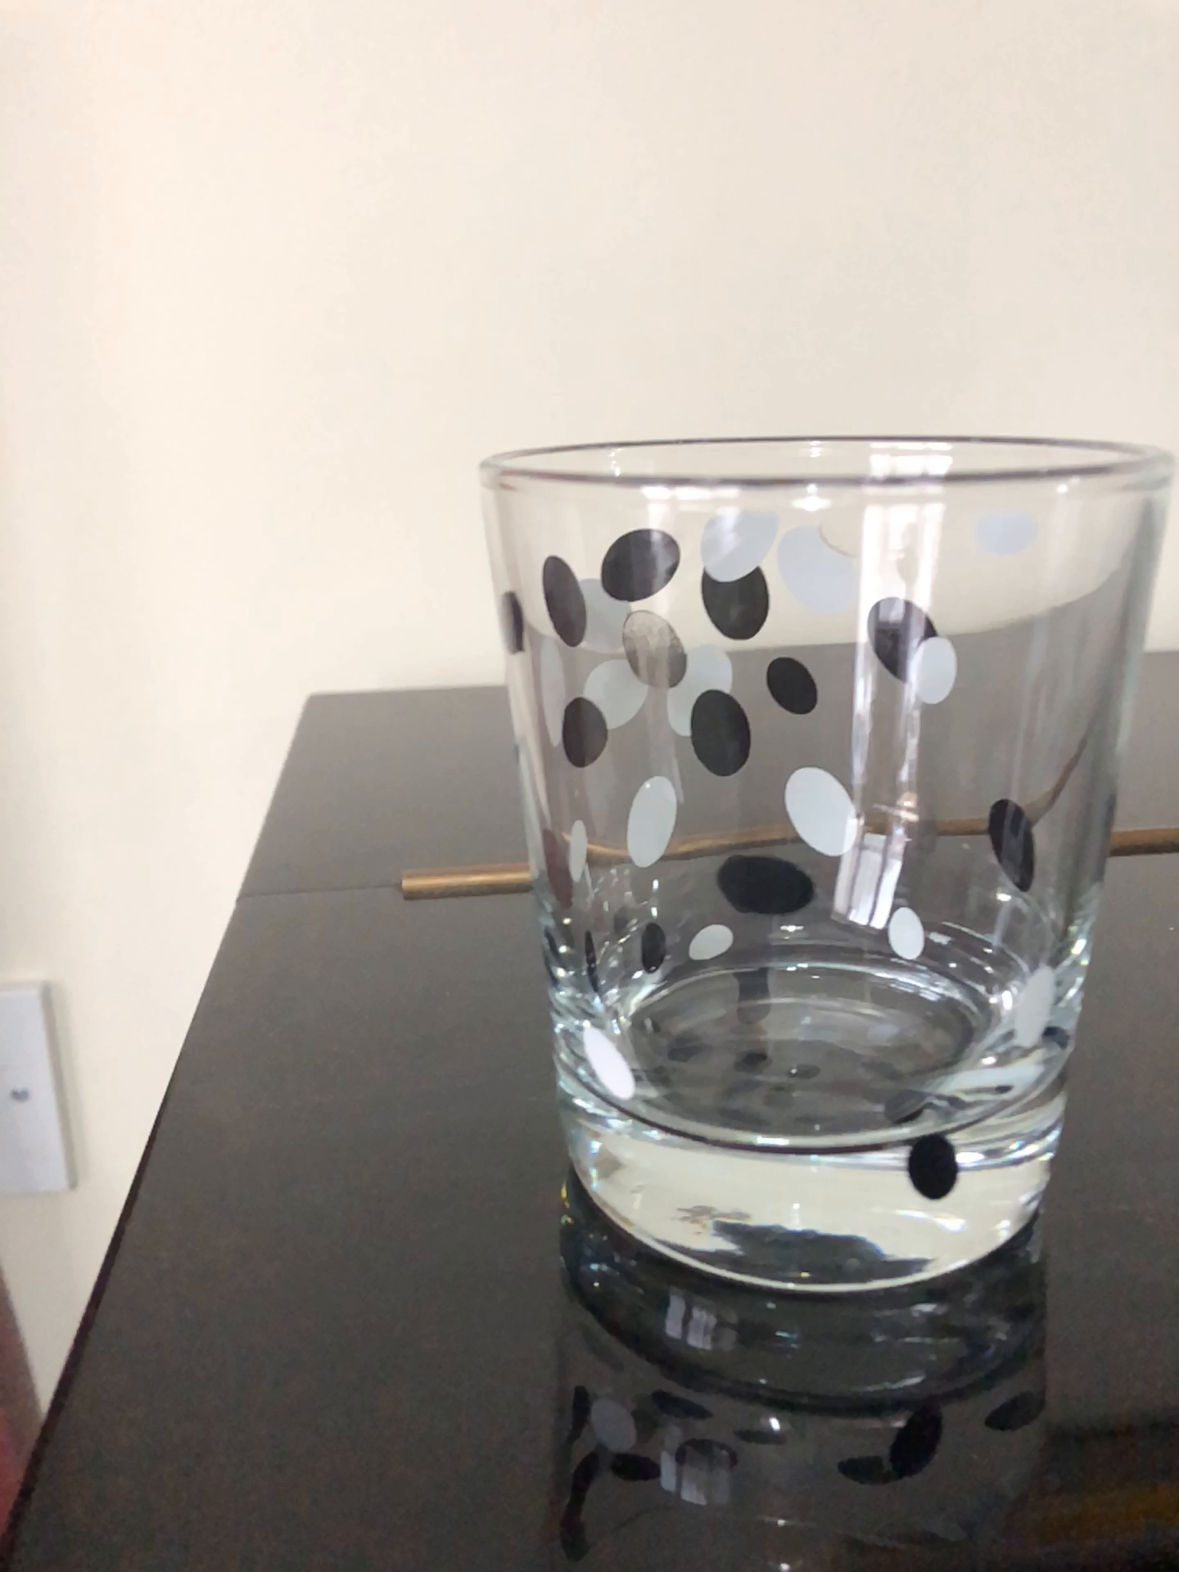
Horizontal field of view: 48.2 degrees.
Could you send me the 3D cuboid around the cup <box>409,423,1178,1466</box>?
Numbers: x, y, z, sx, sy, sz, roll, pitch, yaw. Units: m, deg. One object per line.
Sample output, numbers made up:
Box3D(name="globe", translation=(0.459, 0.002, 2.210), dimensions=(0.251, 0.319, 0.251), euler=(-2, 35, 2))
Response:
Box3D(name="cup", translation=(0.032, 0.006, 0.171), dimensions=(0.080, 0.100, 0.070), euler=(-14, 20, -36))
